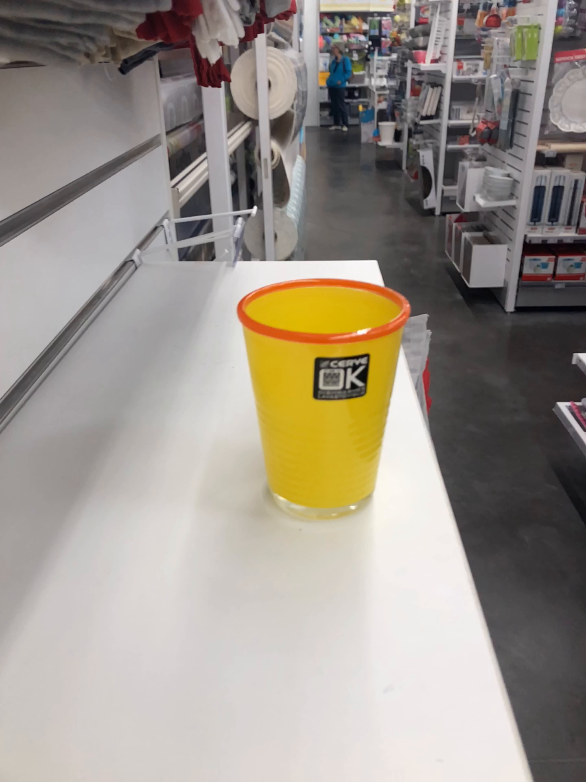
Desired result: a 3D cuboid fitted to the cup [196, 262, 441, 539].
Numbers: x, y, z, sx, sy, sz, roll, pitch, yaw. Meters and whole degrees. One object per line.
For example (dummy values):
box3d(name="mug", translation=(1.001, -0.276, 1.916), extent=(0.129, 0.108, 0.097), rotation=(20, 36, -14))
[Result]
box3d(name="cup", translation=(0.008, -0.001, 0.313), extent=(0.088, 0.094, 0.085), rotation=(-1, 27, 0))
